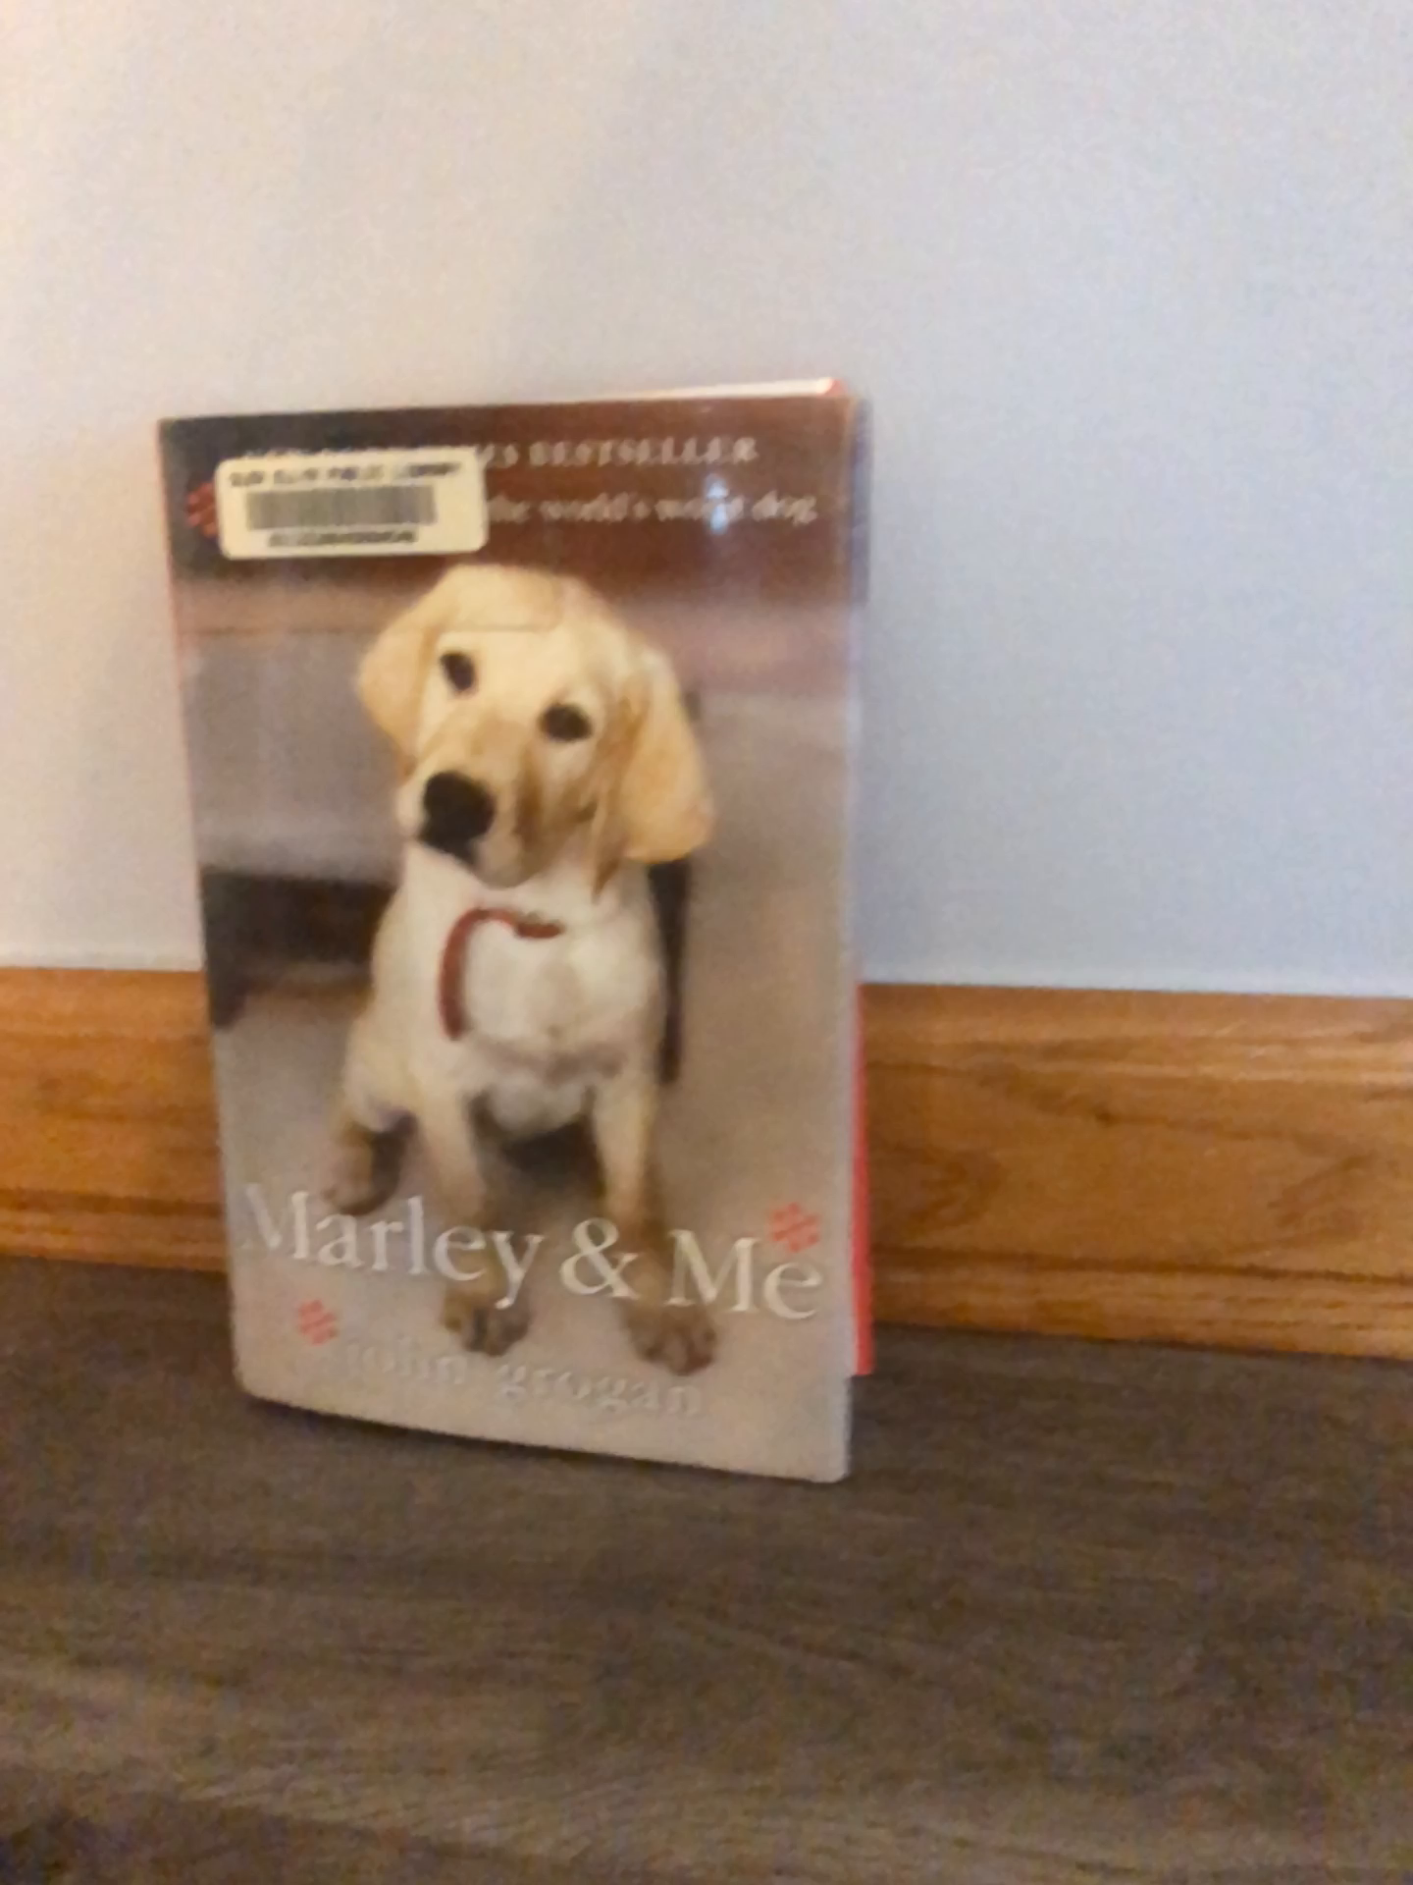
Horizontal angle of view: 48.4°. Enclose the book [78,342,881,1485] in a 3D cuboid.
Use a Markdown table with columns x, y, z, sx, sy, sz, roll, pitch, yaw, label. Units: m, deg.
| x | y | z | sx | sy | sz | roll | pitch | yaw | label |
| --- | --- | --- | --- | --- | --- | --- | --- | --- | --- |
| -0.042 | -0.004 | 0.333 | 0.151 | 0.219 | 0.040 | 2 | 14 | 15 | book |
